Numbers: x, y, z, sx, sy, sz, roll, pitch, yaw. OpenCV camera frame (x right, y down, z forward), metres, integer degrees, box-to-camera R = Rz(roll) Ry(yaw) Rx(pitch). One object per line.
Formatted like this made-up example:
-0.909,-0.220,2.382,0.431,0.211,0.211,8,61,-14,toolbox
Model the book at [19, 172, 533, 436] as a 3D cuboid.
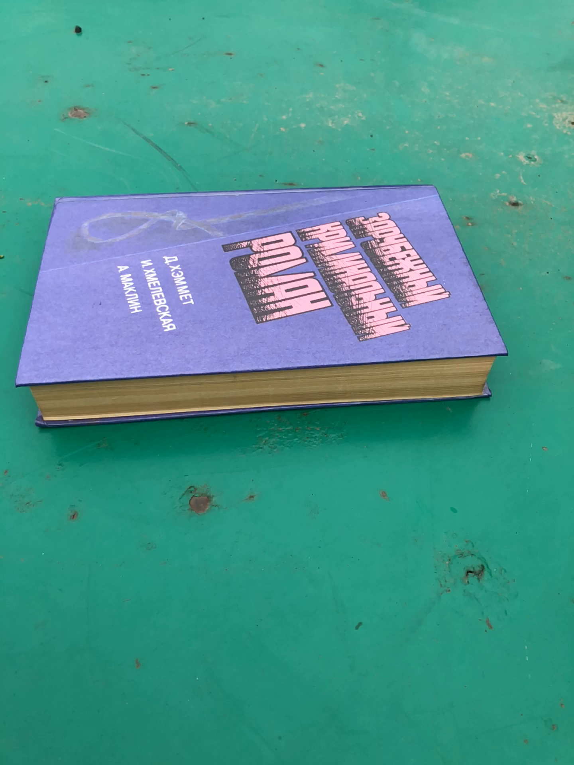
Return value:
-0.008,-0.046,0.313,0.208,0.030,0.137,-4,51,-3,book
